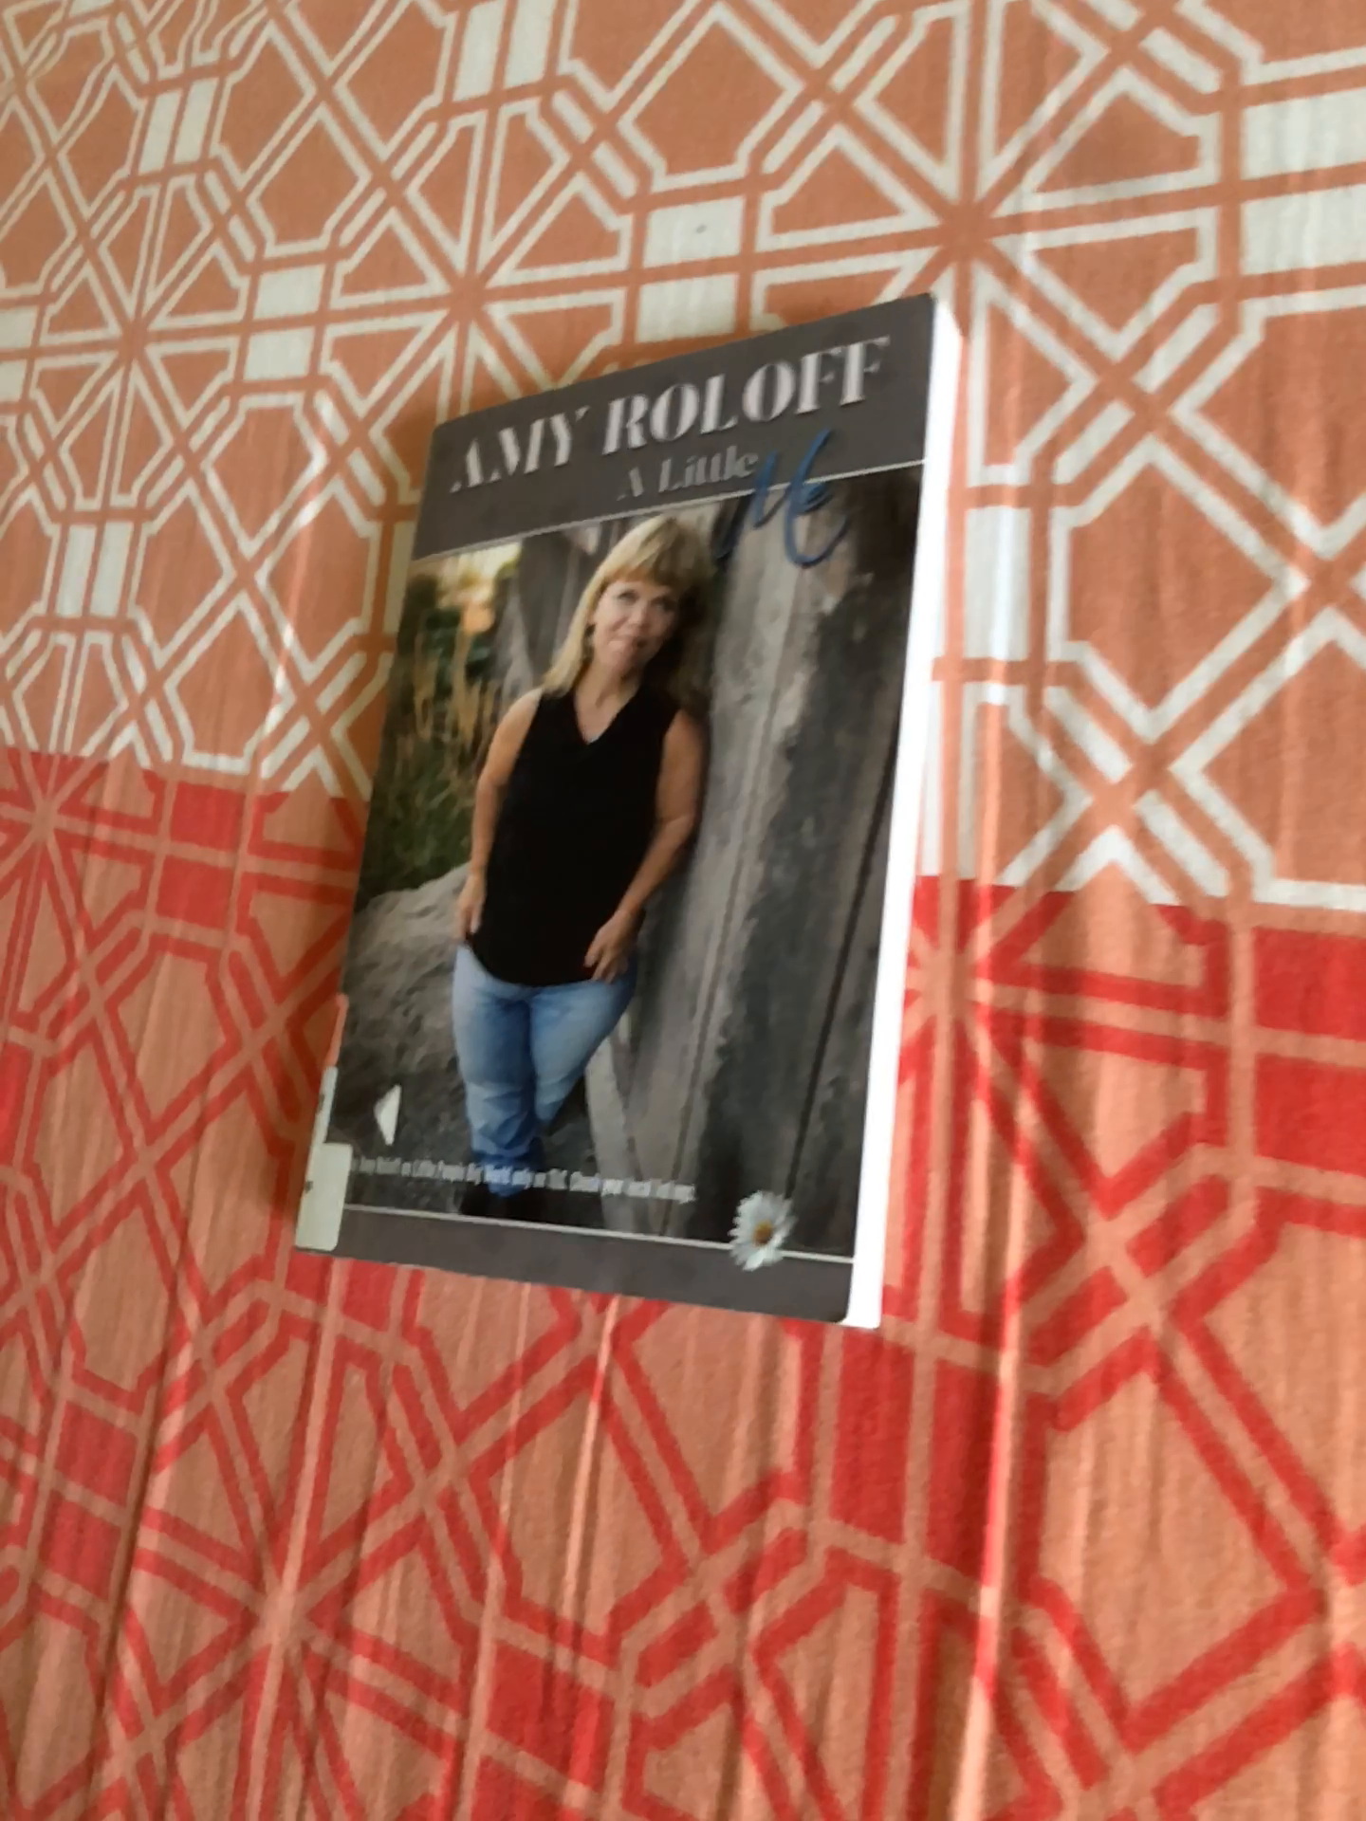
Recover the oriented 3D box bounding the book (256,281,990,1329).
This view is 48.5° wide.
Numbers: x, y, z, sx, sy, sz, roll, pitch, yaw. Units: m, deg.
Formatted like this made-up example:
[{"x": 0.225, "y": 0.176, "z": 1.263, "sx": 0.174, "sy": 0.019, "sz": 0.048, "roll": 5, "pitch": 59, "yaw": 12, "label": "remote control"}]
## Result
[{"x": -0.016, "y": -0.024, "z": 0.354, "sx": 0.159, "sy": 0.030, "sz": 0.215, "roll": -1, "pitch": 77, "yaw": 32, "label": "book"}]
